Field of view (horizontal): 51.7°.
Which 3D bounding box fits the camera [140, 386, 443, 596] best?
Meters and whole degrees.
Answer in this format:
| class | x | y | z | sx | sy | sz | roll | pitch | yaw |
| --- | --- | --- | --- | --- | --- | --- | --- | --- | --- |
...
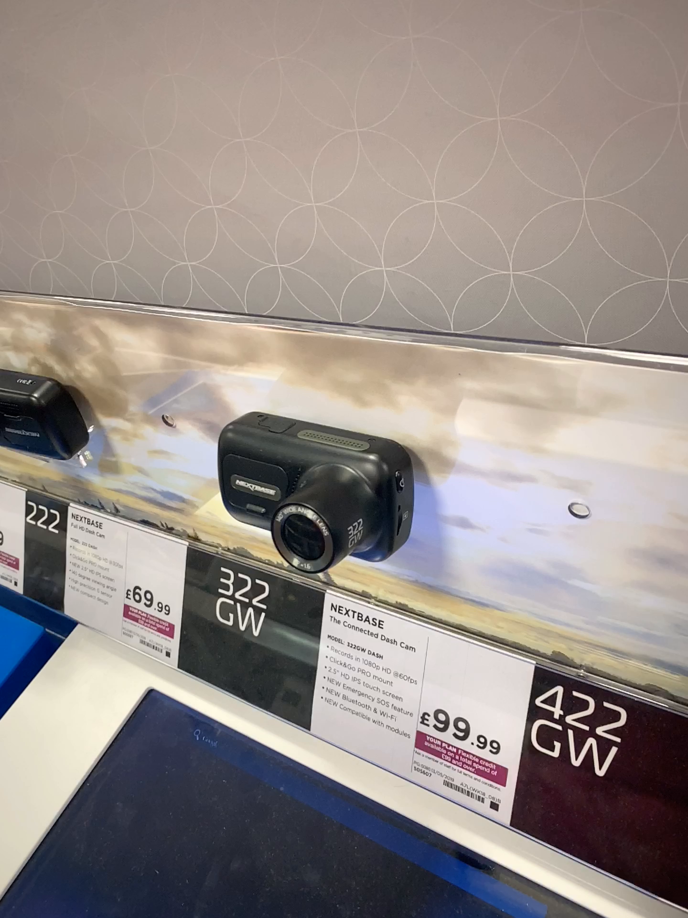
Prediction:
| class | x | y | z | sx | sy | sz | roll | pitch | yaw |
| --- | --- | --- | --- | --- | --- | --- | --- | --- | --- |
| camera | -0.019 | 0.006 | 0.274 | 0.090 | 0.040 | 0.070 | 14 | 26 | 34 |
